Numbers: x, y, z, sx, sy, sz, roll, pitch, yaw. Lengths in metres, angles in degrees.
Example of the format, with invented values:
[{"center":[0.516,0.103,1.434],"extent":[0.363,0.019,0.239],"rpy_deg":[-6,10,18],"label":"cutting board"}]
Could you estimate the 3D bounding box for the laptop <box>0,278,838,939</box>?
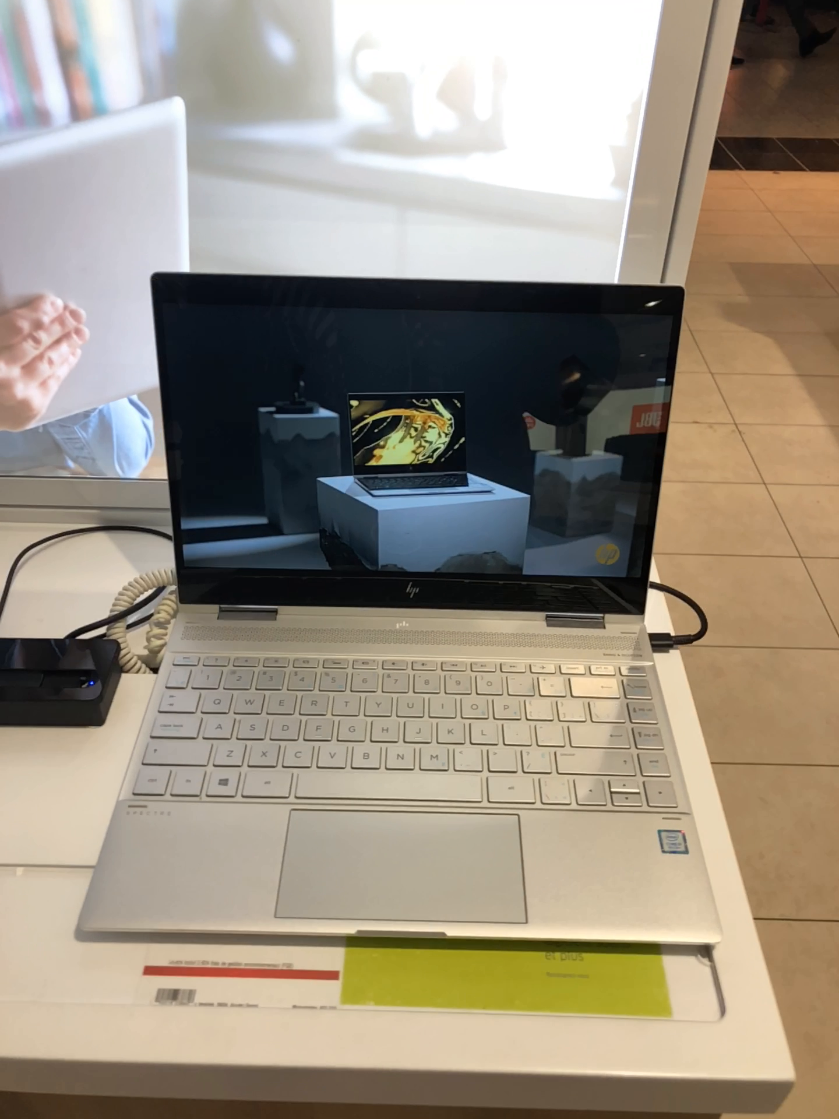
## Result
[{"center":[-0.004,0.007,0.477],"extent":[0.299,0.193,0.283],"rpy_deg":[1,39,1],"label":"laptop"}]
